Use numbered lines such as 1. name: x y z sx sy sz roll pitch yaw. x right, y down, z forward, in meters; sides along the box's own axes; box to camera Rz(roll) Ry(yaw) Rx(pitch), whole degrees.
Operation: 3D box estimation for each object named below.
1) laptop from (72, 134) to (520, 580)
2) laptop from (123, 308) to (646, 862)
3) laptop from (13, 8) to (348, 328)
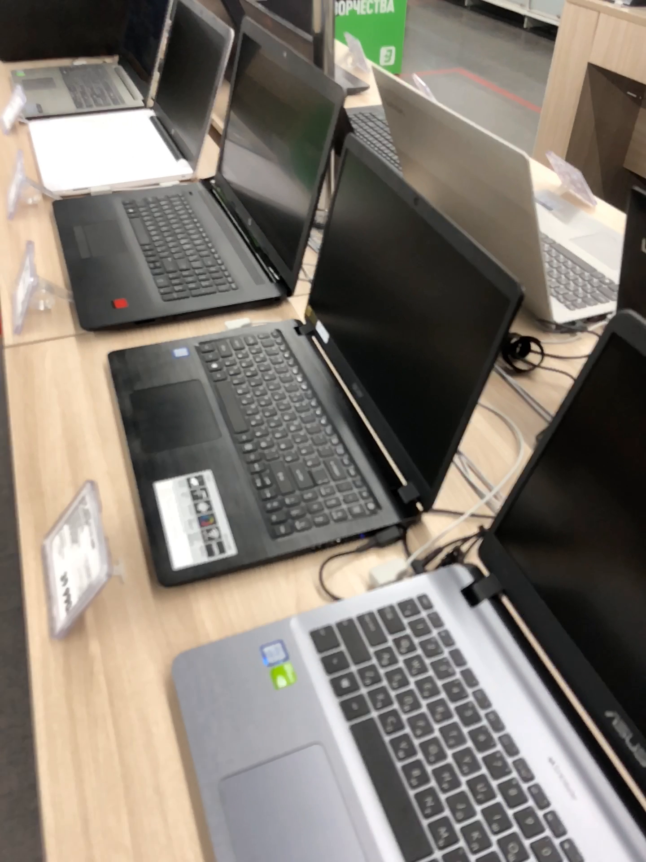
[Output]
1. laptop: -0.051 -0.100 0.666 0.291 0.219 0.347 -13 42 -15
2. laptop: 0.097 0.142 0.361 0.324 0.218 0.328 -14 41 -13
3. laptop: -0.196 -0.380 0.951 0.345 0.226 0.355 -17 46 -17
